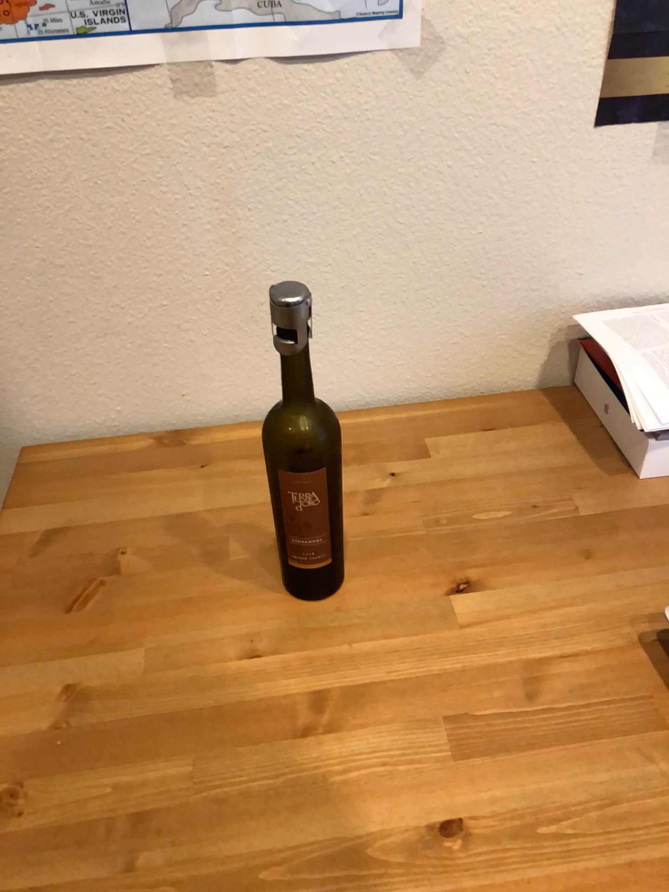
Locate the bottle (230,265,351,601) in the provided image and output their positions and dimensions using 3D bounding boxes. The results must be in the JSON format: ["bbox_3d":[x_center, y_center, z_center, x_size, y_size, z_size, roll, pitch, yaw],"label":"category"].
[{"bbox_3d":[-0.032,0.004,0.722,0.080,0.348,0.080,-2,37,2],"label":"bottle"}]
